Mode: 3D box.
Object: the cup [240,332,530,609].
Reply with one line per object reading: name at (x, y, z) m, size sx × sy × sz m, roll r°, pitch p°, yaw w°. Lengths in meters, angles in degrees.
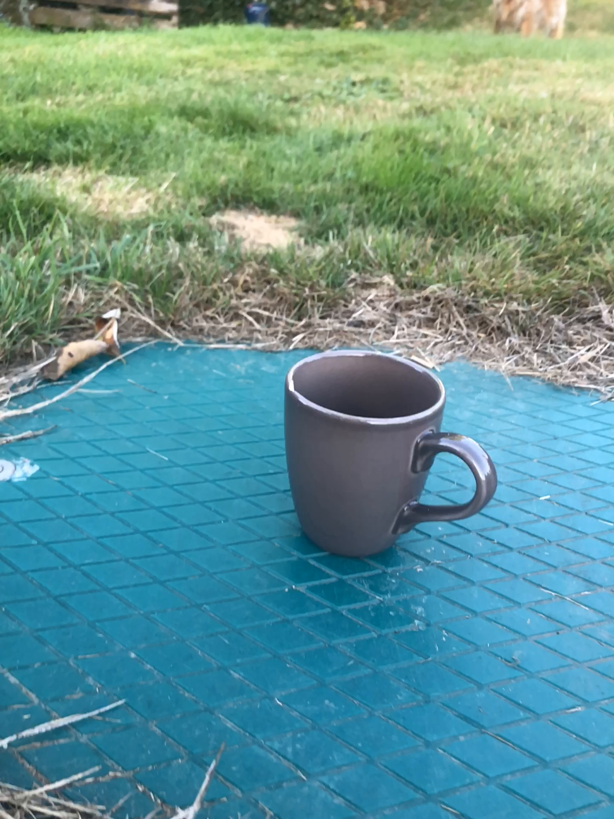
cup at (0.038, 0.025, 0.382) m, size 0.126 × 0.086 × 0.091 m, roll 26°, pitch 36°, yaw 38°
